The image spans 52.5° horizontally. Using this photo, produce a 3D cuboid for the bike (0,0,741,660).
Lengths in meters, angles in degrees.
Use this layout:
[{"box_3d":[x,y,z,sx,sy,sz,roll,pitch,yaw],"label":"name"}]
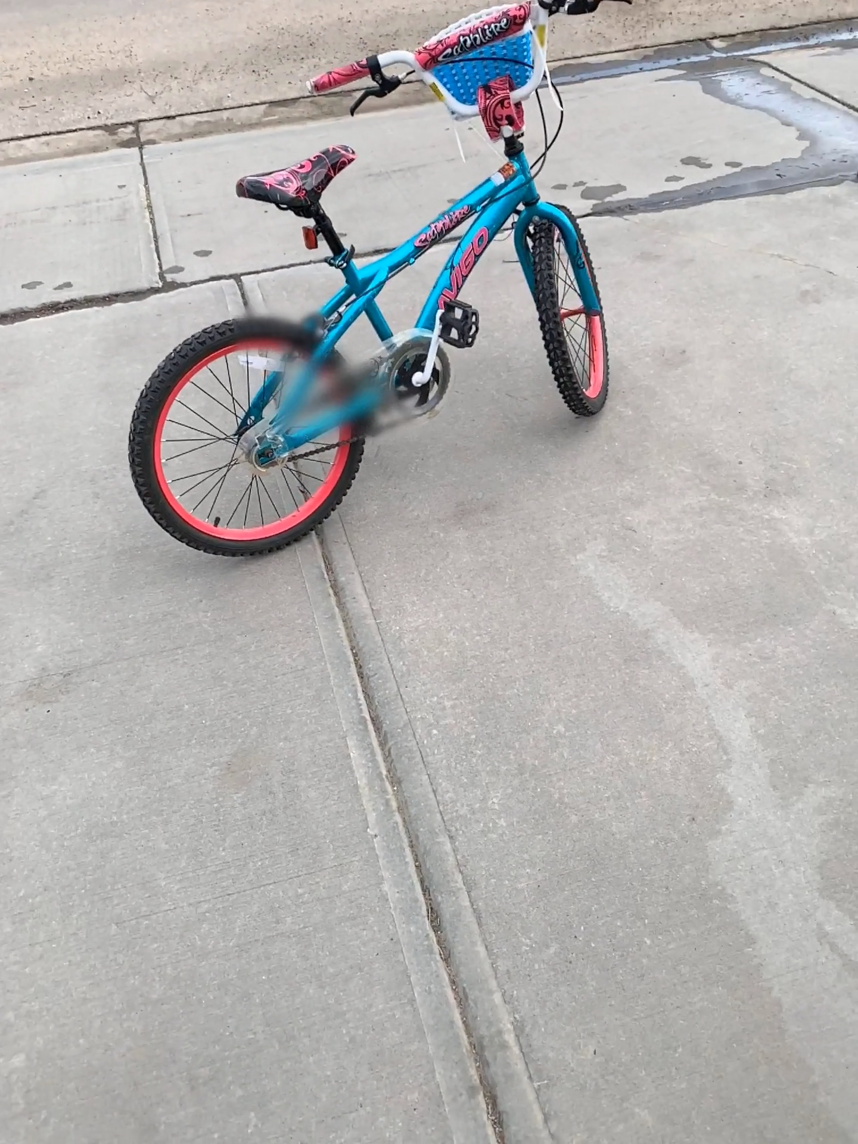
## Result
[{"box_3d":[-0.134,-0.709,1.789,1.258,0.946,0.747,-35,53,-24],"label":"bike"}]
